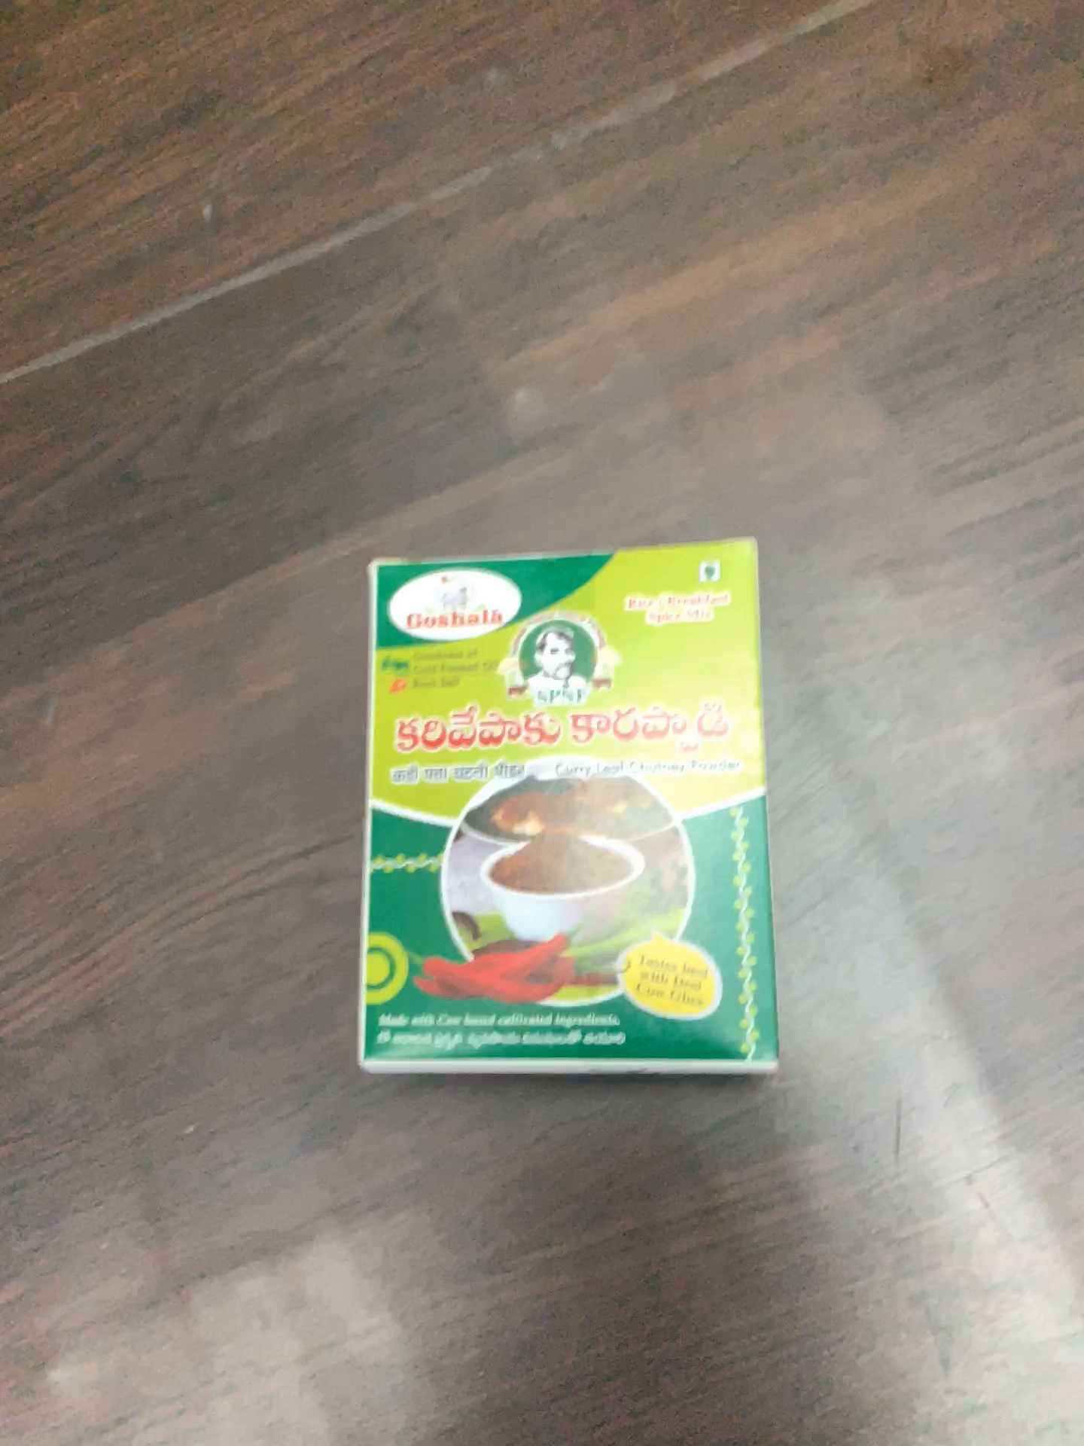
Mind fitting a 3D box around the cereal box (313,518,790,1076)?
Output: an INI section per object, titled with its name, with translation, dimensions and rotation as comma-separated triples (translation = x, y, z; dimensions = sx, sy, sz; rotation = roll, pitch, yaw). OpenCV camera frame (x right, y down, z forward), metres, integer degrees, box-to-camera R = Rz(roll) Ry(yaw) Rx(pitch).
[cereal box]
translation = 0.003, 0.019, 0.266
dimensions = 0.100, 0.040, 0.120
rotation = -2, 76, 9
